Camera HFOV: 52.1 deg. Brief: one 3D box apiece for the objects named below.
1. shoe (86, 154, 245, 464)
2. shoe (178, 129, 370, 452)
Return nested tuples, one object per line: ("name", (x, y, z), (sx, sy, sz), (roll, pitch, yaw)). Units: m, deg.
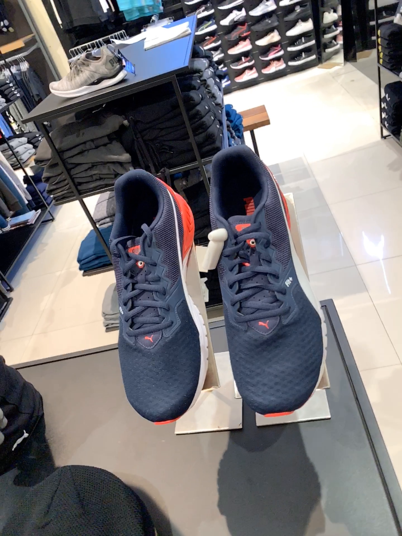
("shoe", (-0.039, 0.031, 0.372), (0.100, 0.079, 0.252), (-14, 61, 10))
("shoe", (0.055, 0.017, 0.376), (0.100, 0.099, 0.262), (-14, 61, 10))
